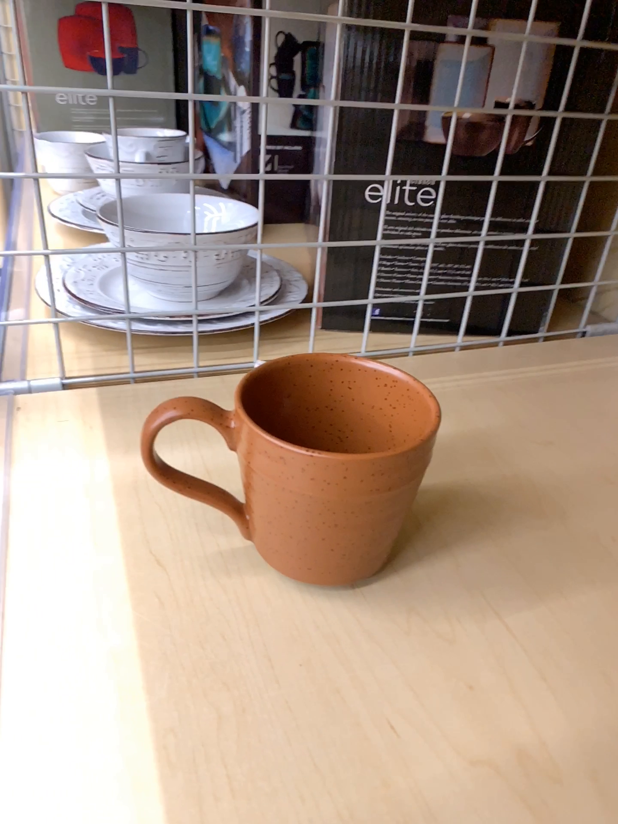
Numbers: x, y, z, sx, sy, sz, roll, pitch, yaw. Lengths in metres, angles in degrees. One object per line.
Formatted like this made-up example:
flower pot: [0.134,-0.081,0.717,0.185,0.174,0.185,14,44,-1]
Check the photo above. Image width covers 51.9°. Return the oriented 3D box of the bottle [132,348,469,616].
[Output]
bottle: [-0.011,0.031,0.327,0.140,0.090,0.101,0,31,-9]
